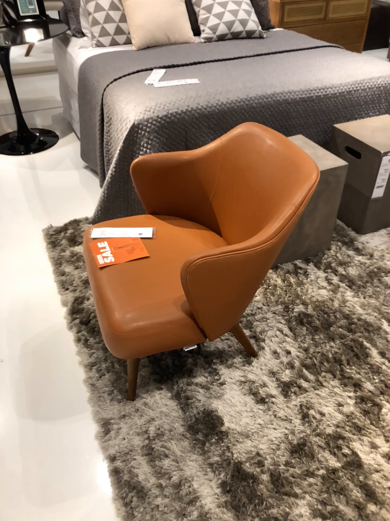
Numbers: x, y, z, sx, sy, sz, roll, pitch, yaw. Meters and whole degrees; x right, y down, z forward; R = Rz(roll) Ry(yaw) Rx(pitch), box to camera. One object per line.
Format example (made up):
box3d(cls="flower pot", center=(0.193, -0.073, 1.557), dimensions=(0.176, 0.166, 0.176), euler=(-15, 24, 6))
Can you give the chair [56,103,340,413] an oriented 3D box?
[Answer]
box3d(cls="chair", center=(-0.038, -0.039, 1.431), dimensions=(0.651, 0.705, 0.594), euler=(-12, 39, -14))
